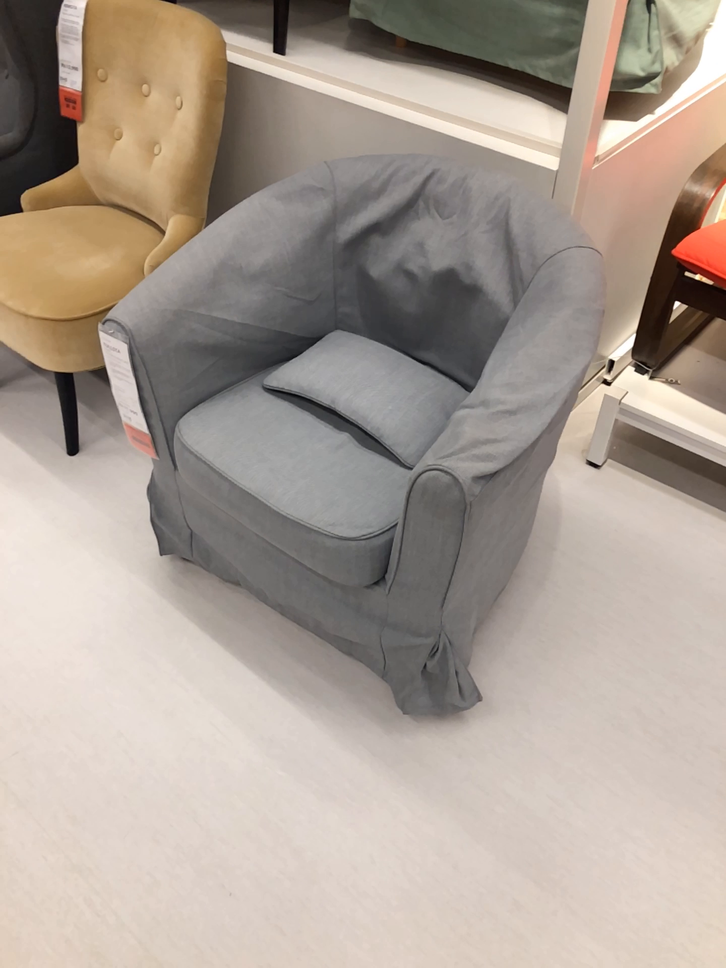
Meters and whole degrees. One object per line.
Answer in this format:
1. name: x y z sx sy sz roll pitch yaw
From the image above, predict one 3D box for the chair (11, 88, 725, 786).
1. chair: 0.025 -0.137 1.517 0.872 0.795 0.723 28 52 25
